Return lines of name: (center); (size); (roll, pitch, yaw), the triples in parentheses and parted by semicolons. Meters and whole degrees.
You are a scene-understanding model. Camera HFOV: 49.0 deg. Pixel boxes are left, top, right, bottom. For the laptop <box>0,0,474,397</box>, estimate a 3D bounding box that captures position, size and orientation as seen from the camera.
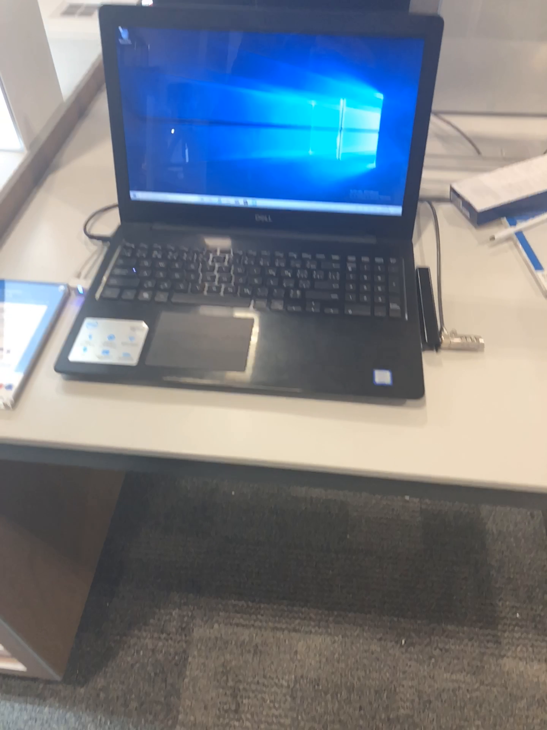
laptop: (-0.022, -0.187, 0.627); (0.363, 0.224, 0.337); (4, 51, 5)
